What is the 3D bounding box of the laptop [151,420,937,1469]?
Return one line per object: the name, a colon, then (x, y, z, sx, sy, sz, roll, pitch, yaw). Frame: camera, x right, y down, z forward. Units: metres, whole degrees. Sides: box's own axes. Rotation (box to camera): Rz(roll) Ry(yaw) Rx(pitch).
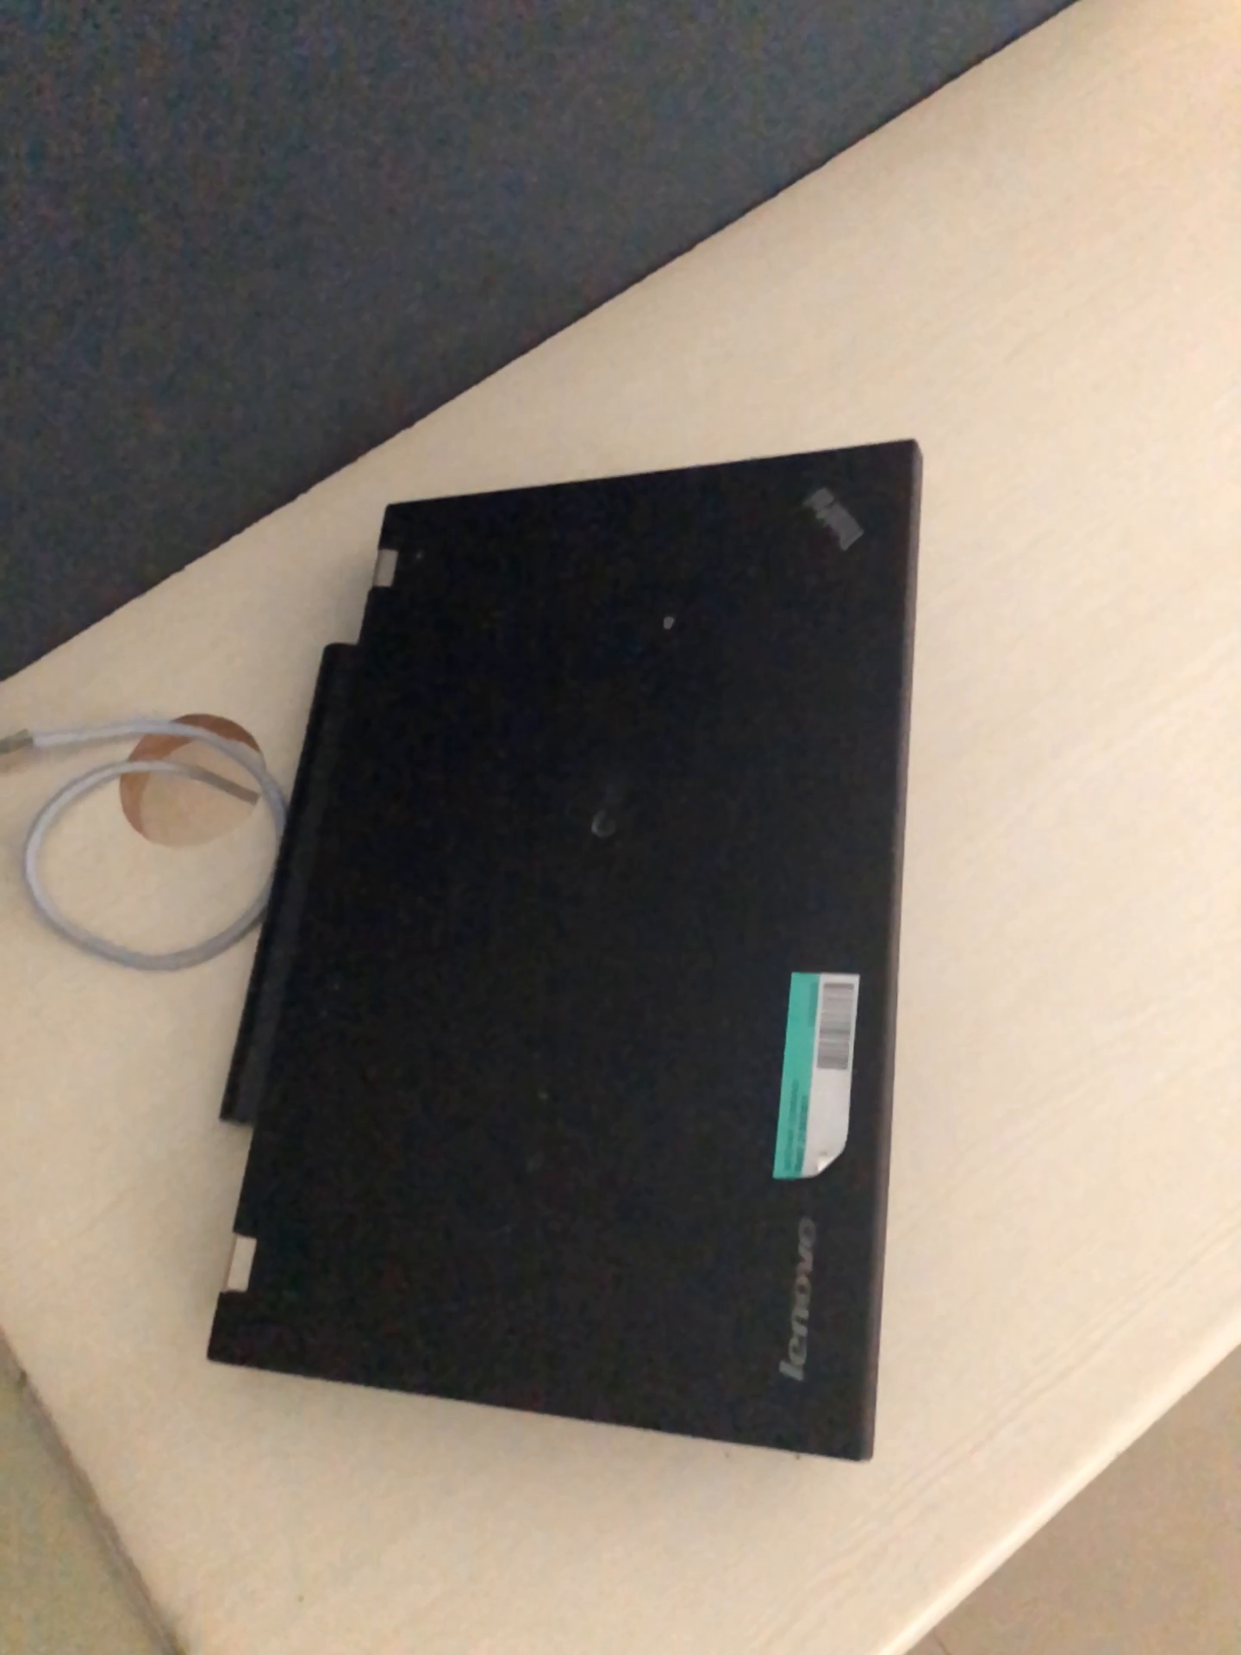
laptop: (-0.009, 0.027, 0.522, 0.234, 0.077, 0.364, 5, 69, 3)
